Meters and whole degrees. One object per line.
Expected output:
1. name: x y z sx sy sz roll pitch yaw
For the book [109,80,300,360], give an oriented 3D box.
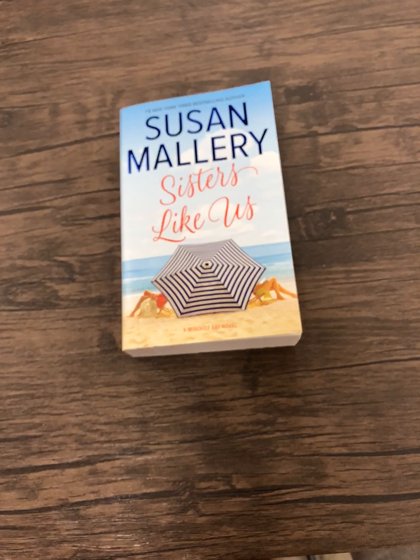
1. book: -0.006 -0.036 0.300 0.104 0.043 0.160 -6 74 8
